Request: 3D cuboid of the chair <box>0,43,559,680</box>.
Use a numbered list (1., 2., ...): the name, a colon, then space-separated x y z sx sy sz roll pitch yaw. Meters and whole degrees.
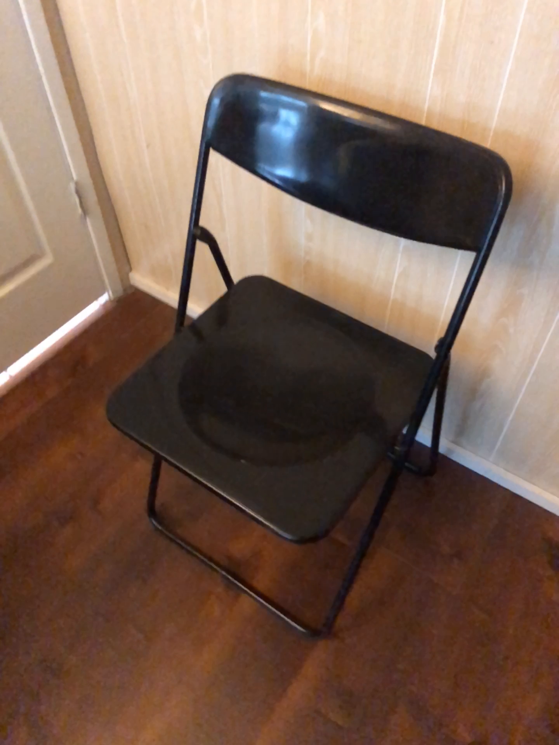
1. chair: -0.020 0.009 0.901 0.491 0.666 0.472 28 57 22
